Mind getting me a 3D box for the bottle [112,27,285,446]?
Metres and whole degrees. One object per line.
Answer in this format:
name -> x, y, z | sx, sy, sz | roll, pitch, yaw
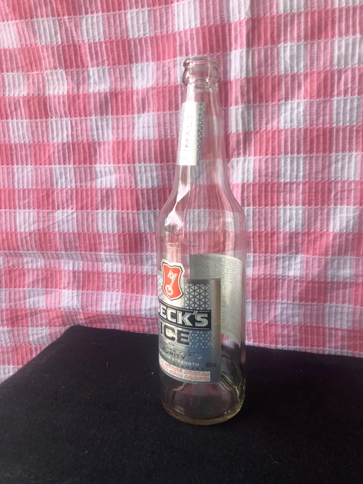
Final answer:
bottle -> 0.011, -0.002, 0.310 | 0.080, 0.269, 0.090 | -12, 18, -40
